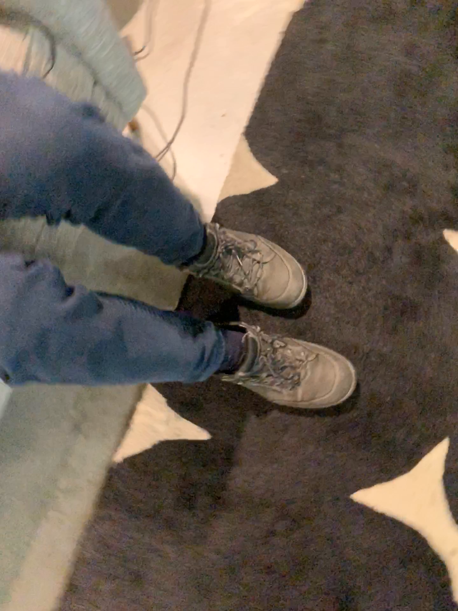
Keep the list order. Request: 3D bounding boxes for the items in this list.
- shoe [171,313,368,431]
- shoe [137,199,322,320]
[{"bbox_3d":[0.065,0.103,0.771,0.287,0.077,0.121,12,86,12],"label":"shoe"},{"bbox_3d":[0.002,-0.078,0.810,0.285,0.077,0.119,18,87,13],"label":"shoe"}]
